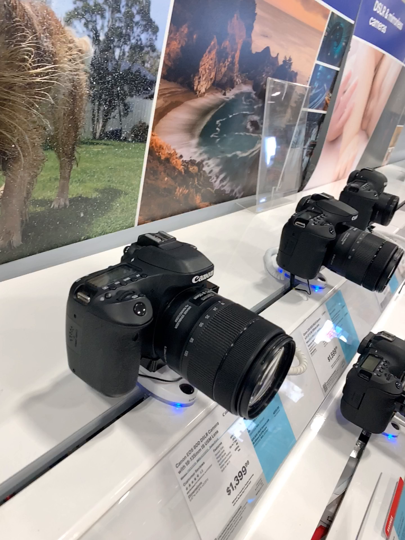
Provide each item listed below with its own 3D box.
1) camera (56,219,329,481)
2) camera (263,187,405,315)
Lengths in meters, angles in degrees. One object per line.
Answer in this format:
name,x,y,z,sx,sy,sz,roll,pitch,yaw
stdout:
camera,-0.009,0.045,0.345,0.160,0.099,0.140,27,30,26
camera,0.202,-0.038,0.600,0.160,0.099,0.140,27,30,26
